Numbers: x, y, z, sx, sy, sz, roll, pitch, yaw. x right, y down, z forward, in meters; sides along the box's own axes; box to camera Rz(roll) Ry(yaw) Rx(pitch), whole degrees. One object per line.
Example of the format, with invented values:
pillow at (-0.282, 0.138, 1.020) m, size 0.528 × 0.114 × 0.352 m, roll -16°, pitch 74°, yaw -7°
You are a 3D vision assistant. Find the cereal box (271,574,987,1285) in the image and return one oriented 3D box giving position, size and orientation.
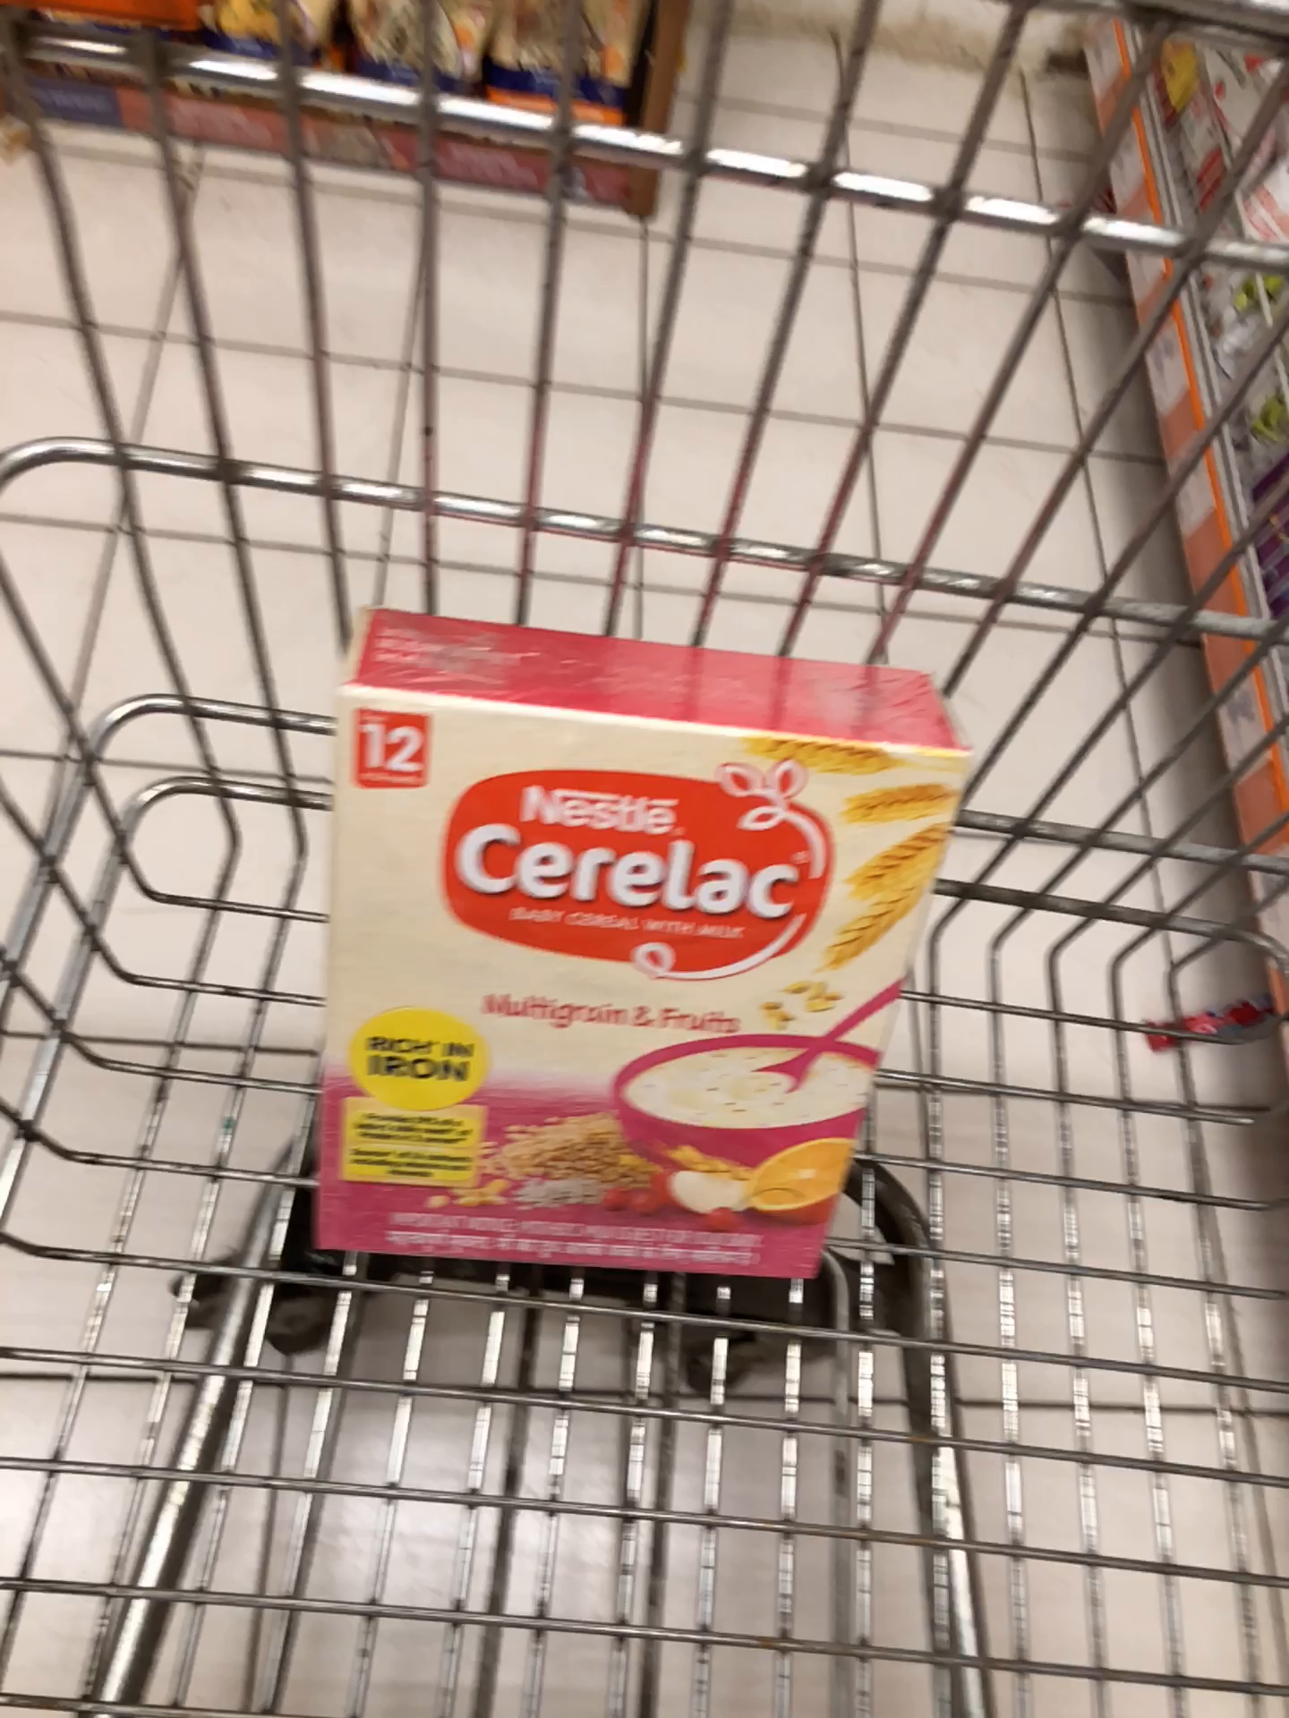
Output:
cereal box at (-0.016, 0.030, 0.391) m, size 0.160 × 0.189 × 0.050 m, roll 6°, pitch 34°, yaw -7°
